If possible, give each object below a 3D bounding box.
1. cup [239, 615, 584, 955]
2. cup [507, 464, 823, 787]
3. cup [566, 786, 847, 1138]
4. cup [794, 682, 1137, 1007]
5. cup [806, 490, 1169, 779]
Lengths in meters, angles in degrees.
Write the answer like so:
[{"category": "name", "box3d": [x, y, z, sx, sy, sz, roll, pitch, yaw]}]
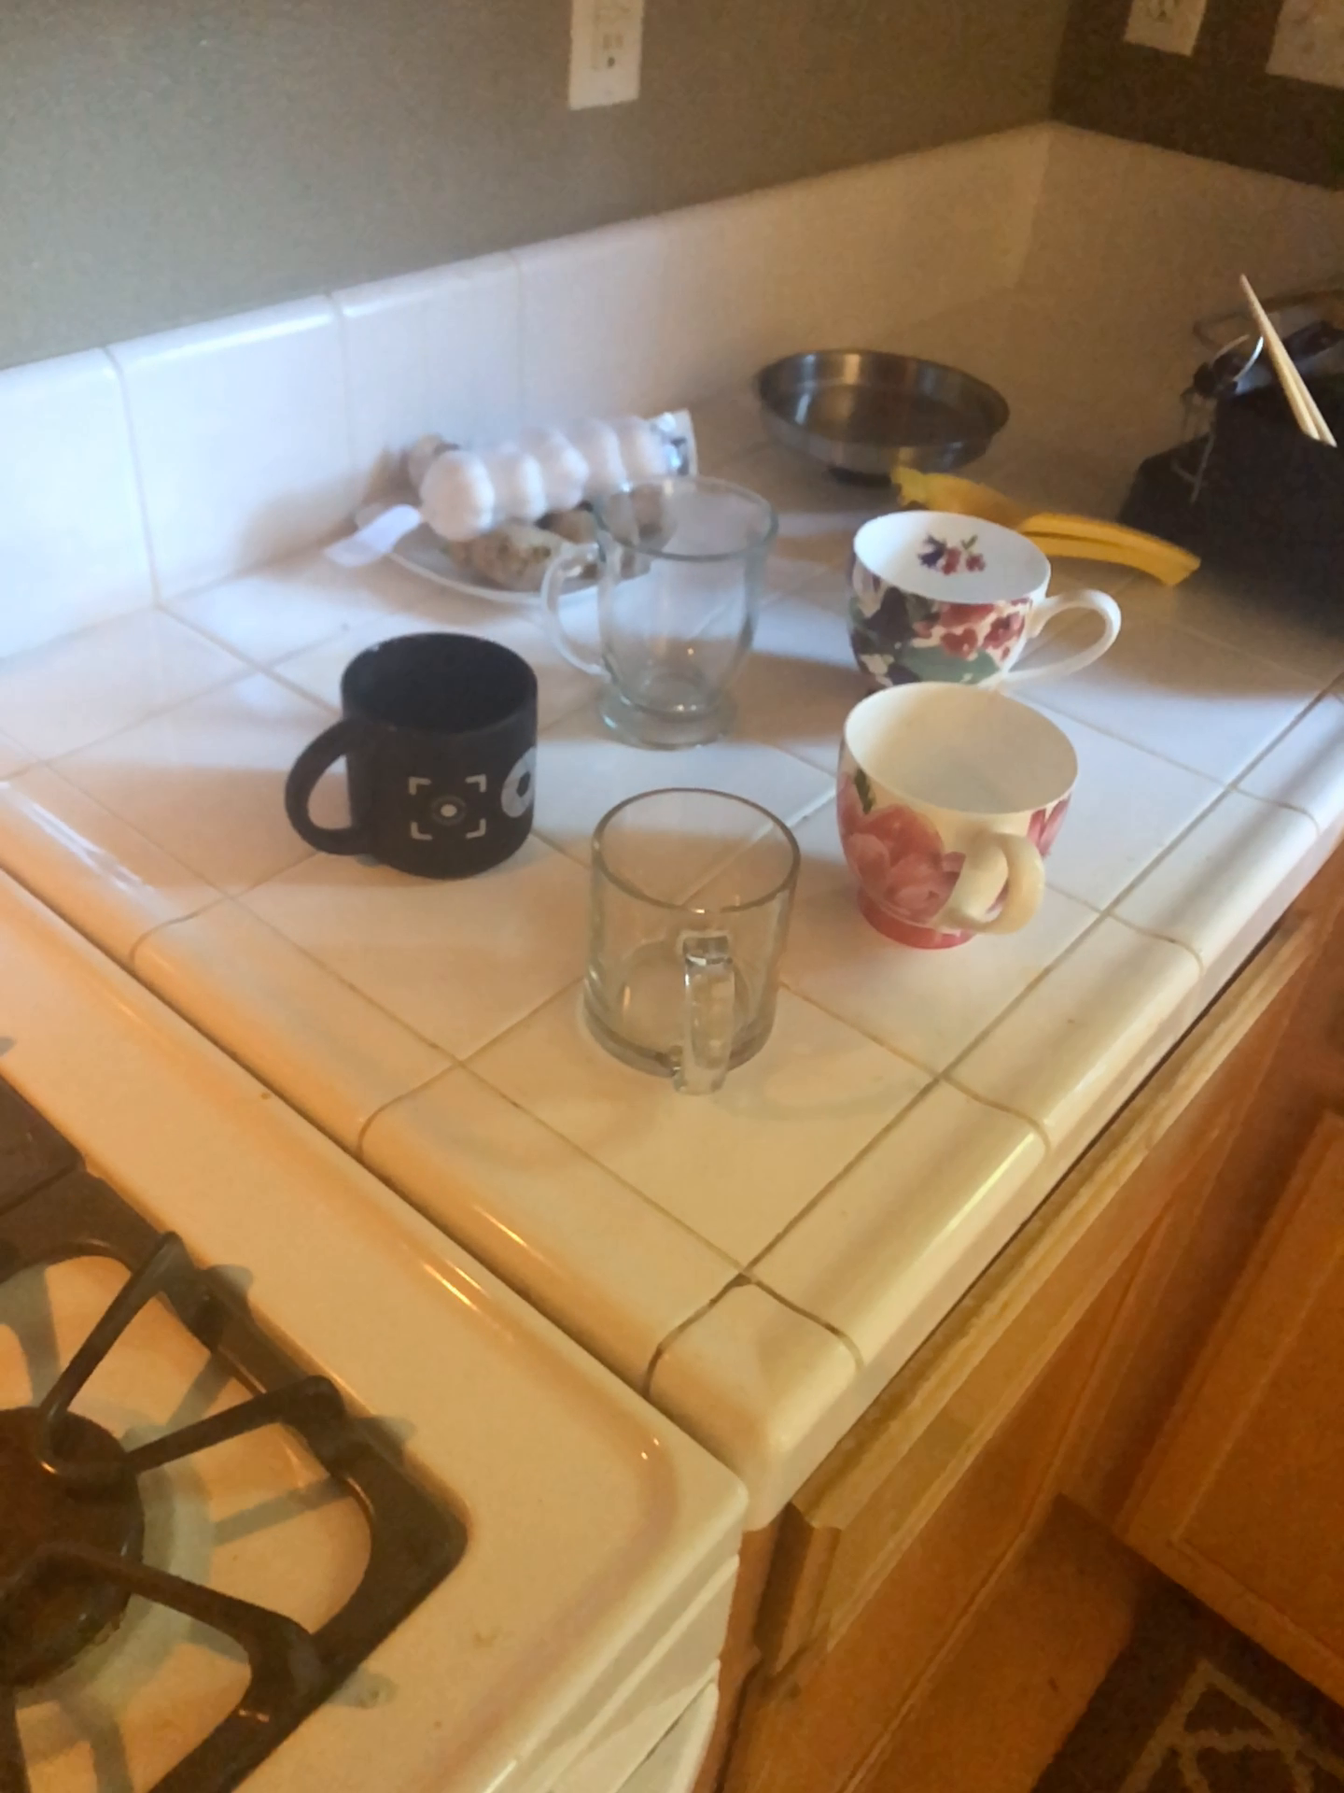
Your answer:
[{"category": "cup", "box3d": [-0.106, -0.050, 0.620, 0.111, 0.079, 0.080, -30, 51, -36]}, {"category": "cup", "box3d": [-0.008, -0.139, 0.752, 0.120, 0.109, 0.101, -14, 43, -23]}, {"category": "cup", "box3d": [0.008, 0.023, 0.603, 0.090, 0.079, 0.121, -1, 40, -9]}, {"category": "cup", "box3d": [0.116, -0.025, 0.626, 0.100, 0.069, 0.131, 0, 40, -8]}, {"category": "cup", "box3d": [0.172, -0.148, 0.818, 0.160, 0.079, 0.101, 21, 42, 18]}]
